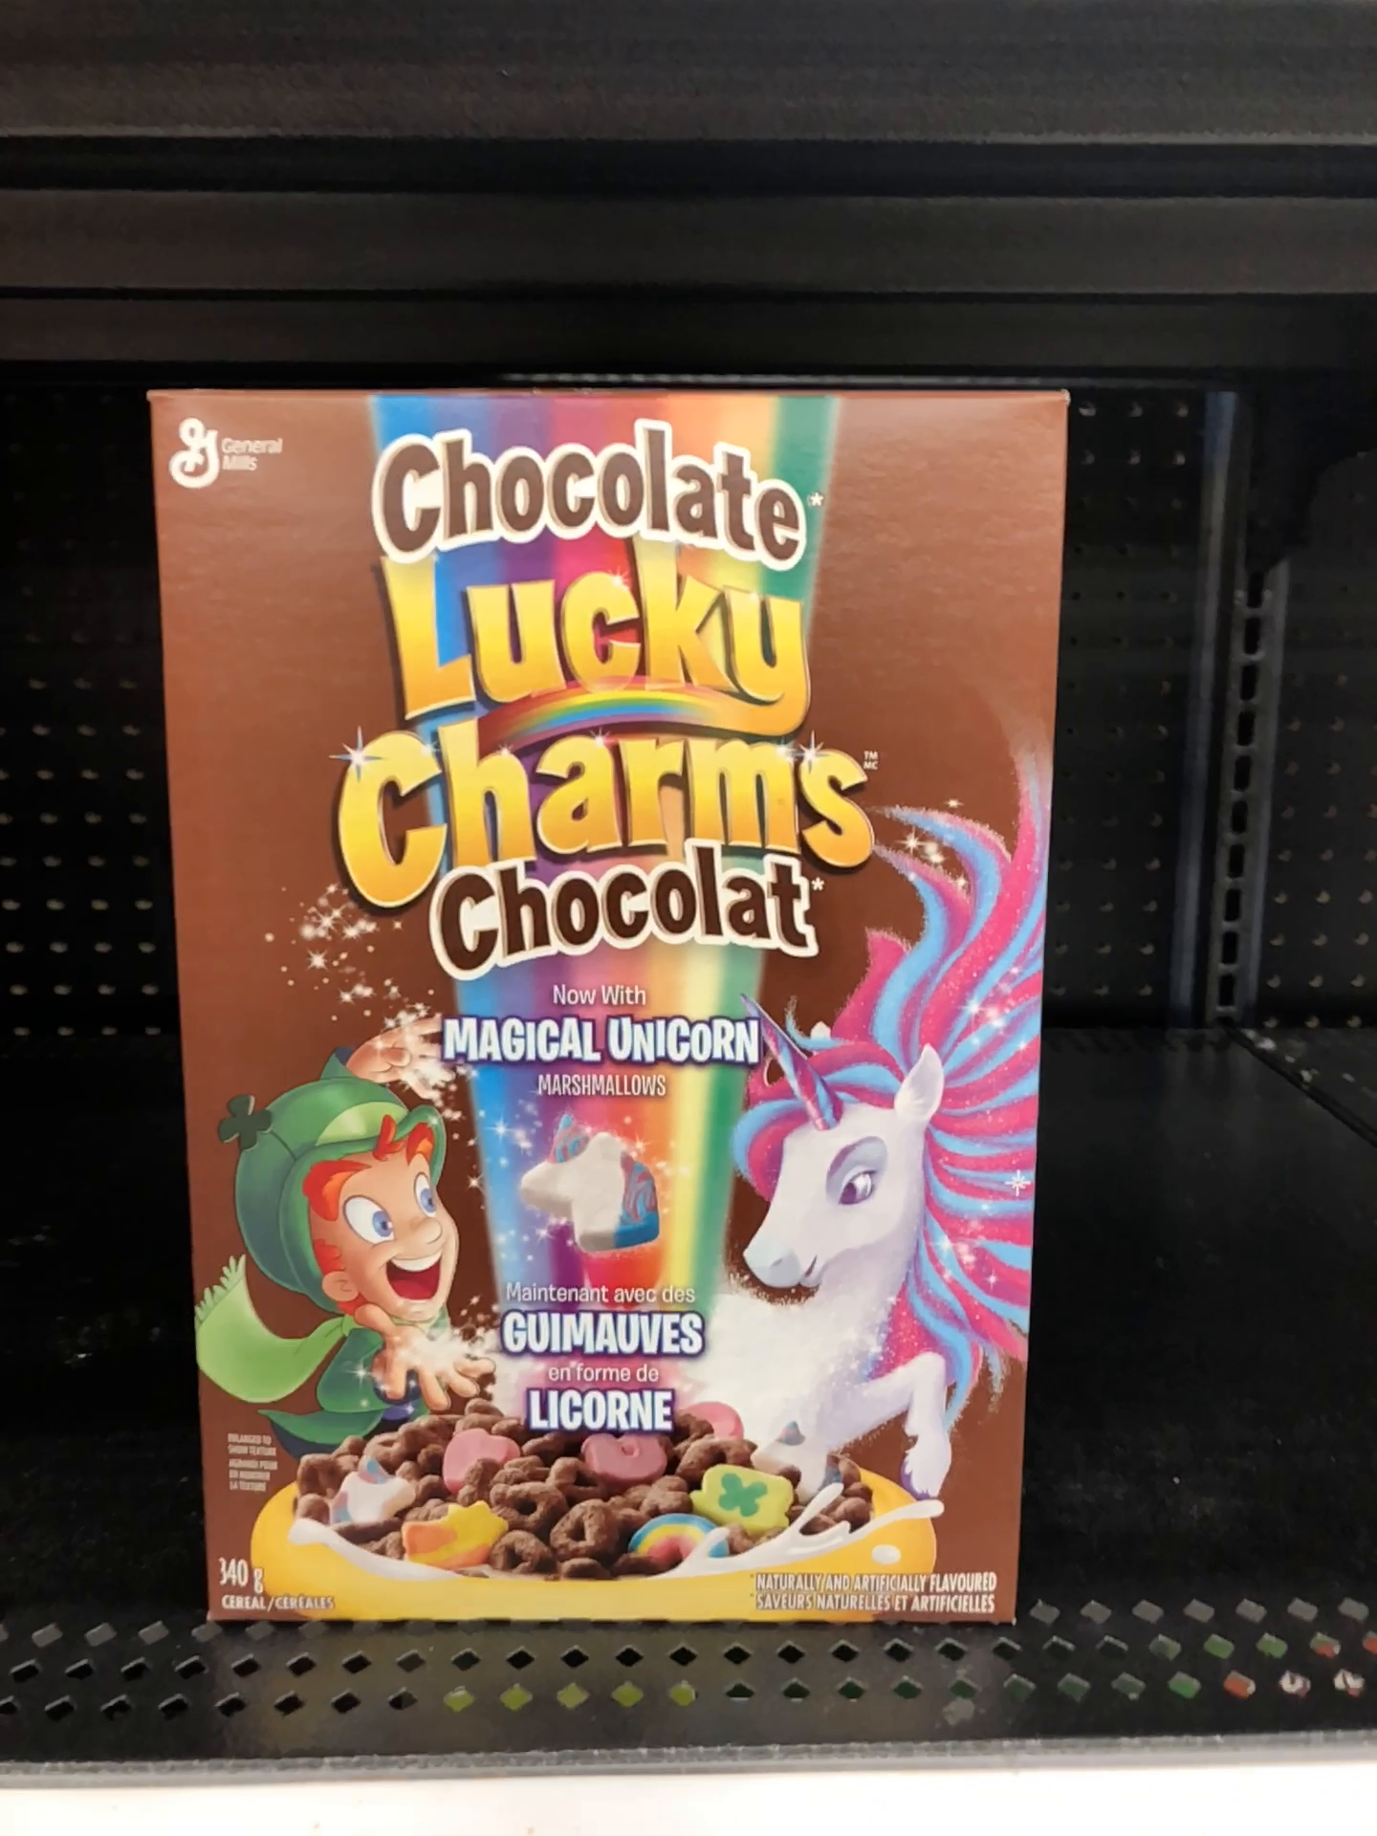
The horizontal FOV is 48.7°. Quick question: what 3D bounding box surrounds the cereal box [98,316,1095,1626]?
[{"bbox_3d":[-0.018,0.017,0.354,0.200,0.289,0.050,0,10,1],"label":"cereal box"}]
